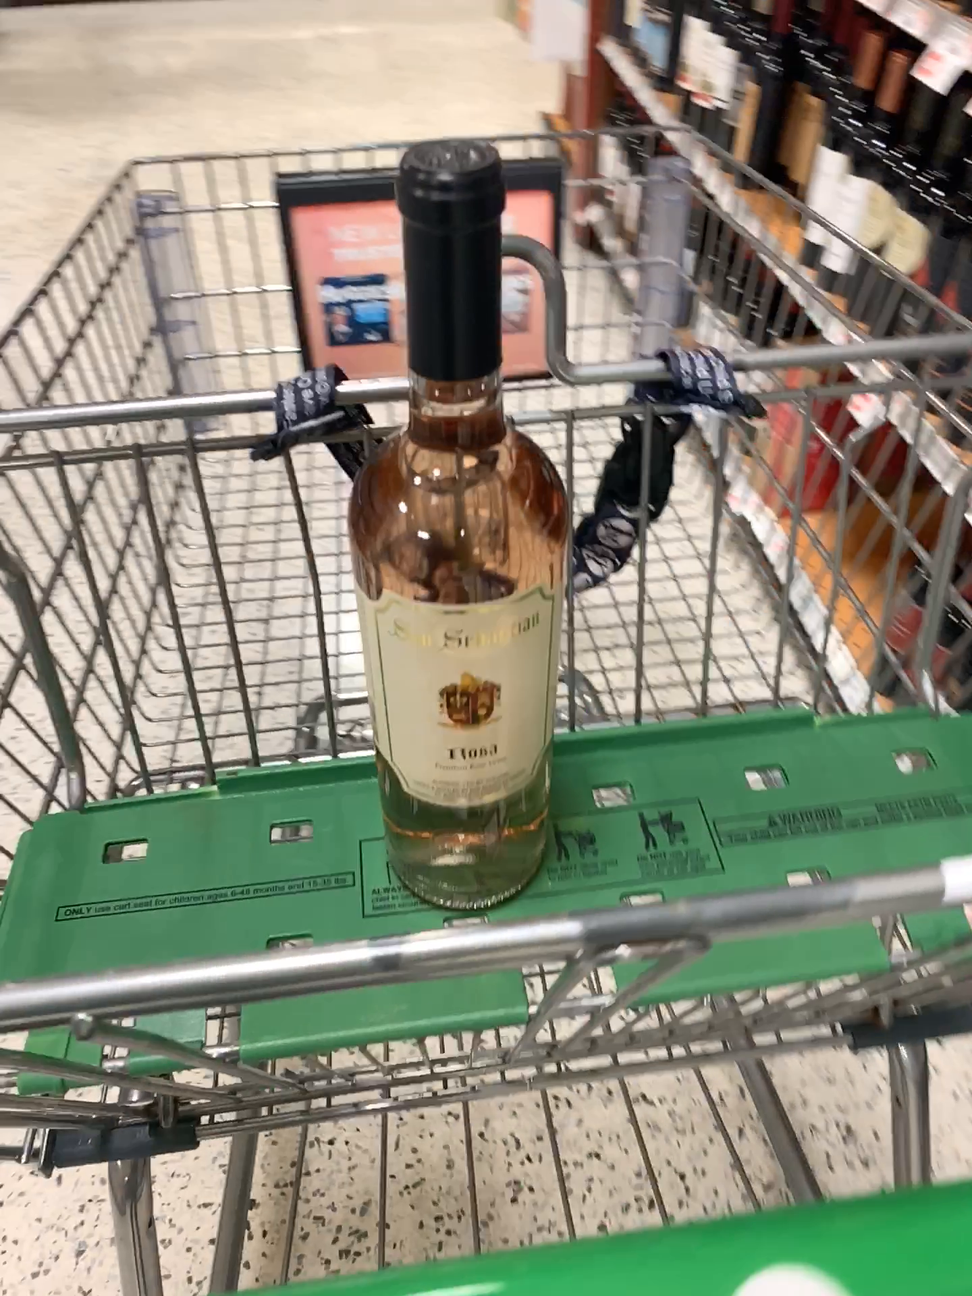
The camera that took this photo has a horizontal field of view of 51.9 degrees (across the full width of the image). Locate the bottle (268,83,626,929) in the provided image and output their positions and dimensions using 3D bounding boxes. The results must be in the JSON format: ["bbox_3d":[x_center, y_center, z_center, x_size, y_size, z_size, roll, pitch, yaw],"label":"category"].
[{"bbox_3d":[-0.011,-0.021,0.372,0.083,0.315,0.087,-1,44,1],"label":"bottle"}]
